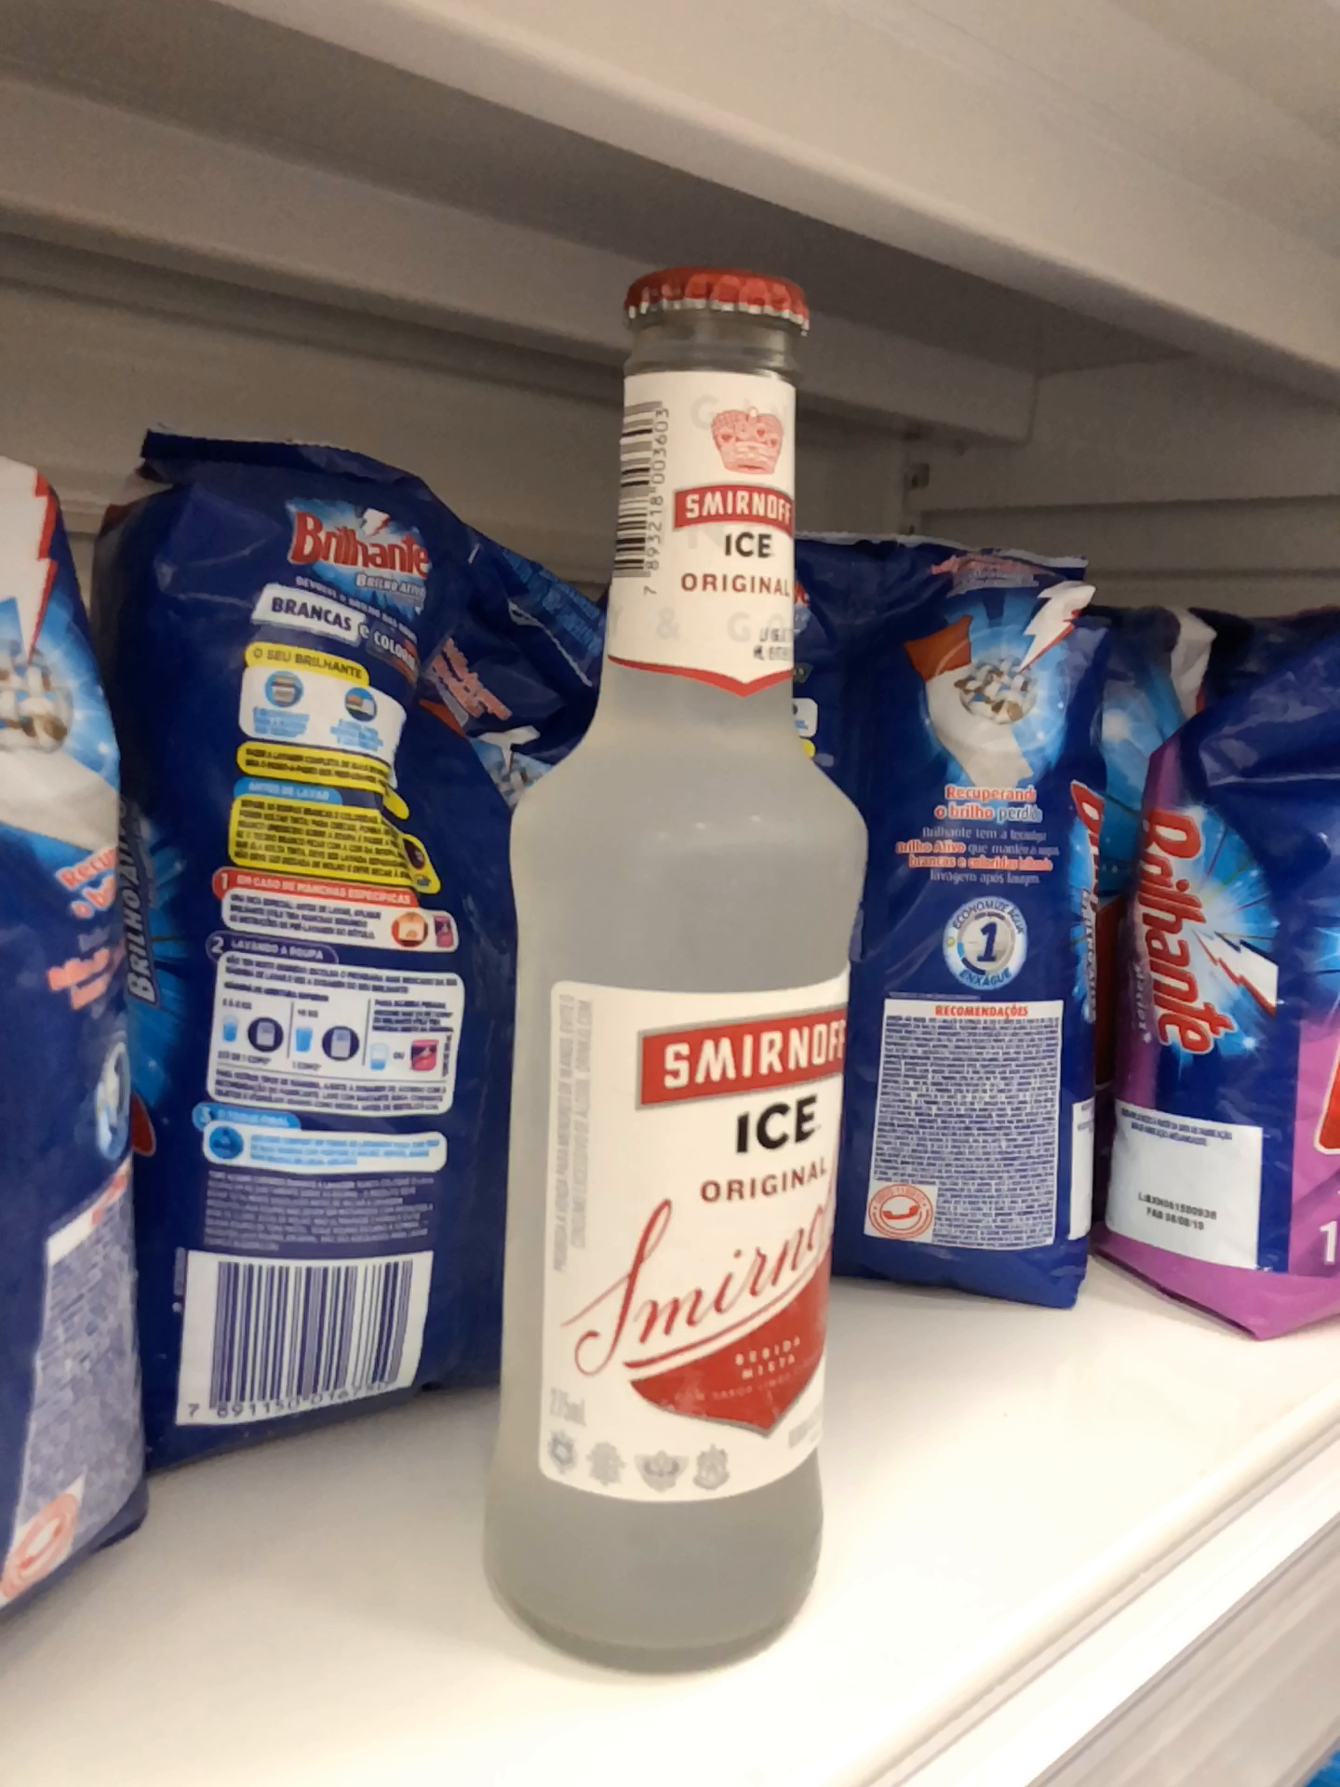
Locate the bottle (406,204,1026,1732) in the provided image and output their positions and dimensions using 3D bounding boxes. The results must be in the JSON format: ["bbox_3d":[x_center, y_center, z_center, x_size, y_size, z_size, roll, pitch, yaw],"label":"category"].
[{"bbox_3d":[0.003,0.011,0.244,0.070,0.209,0.060,-4,10,-35],"label":"bottle"}]
